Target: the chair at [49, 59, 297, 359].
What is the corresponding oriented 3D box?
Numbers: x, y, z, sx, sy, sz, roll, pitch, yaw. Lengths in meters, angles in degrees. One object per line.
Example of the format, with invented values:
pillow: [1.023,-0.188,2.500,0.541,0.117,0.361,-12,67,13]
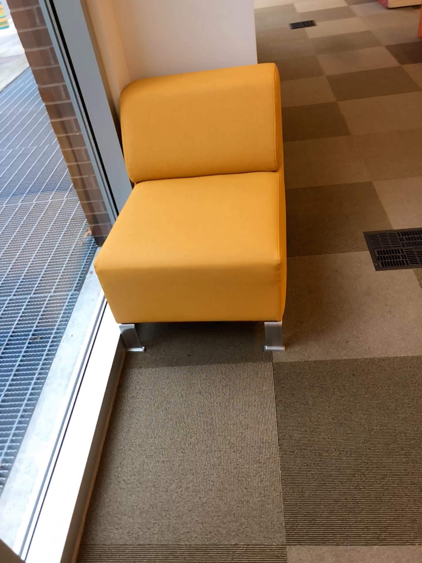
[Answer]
chair: [-0.026,-0.309,1.836,0.673,0.751,0.948,-2,40,10]
